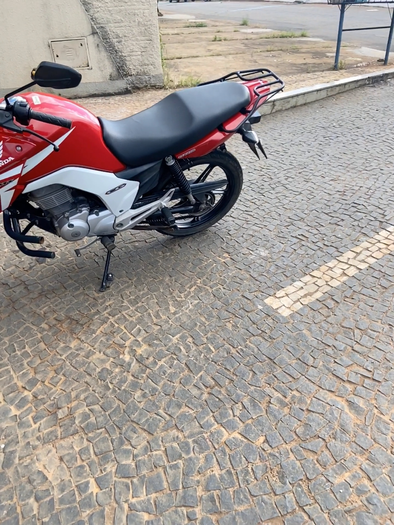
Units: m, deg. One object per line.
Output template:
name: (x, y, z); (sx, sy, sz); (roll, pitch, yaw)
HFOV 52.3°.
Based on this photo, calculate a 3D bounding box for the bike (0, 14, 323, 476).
bike: (-0.458, -0.327, 1.927); (2.075, 1.382, 0.812); (-25, 39, -30)
